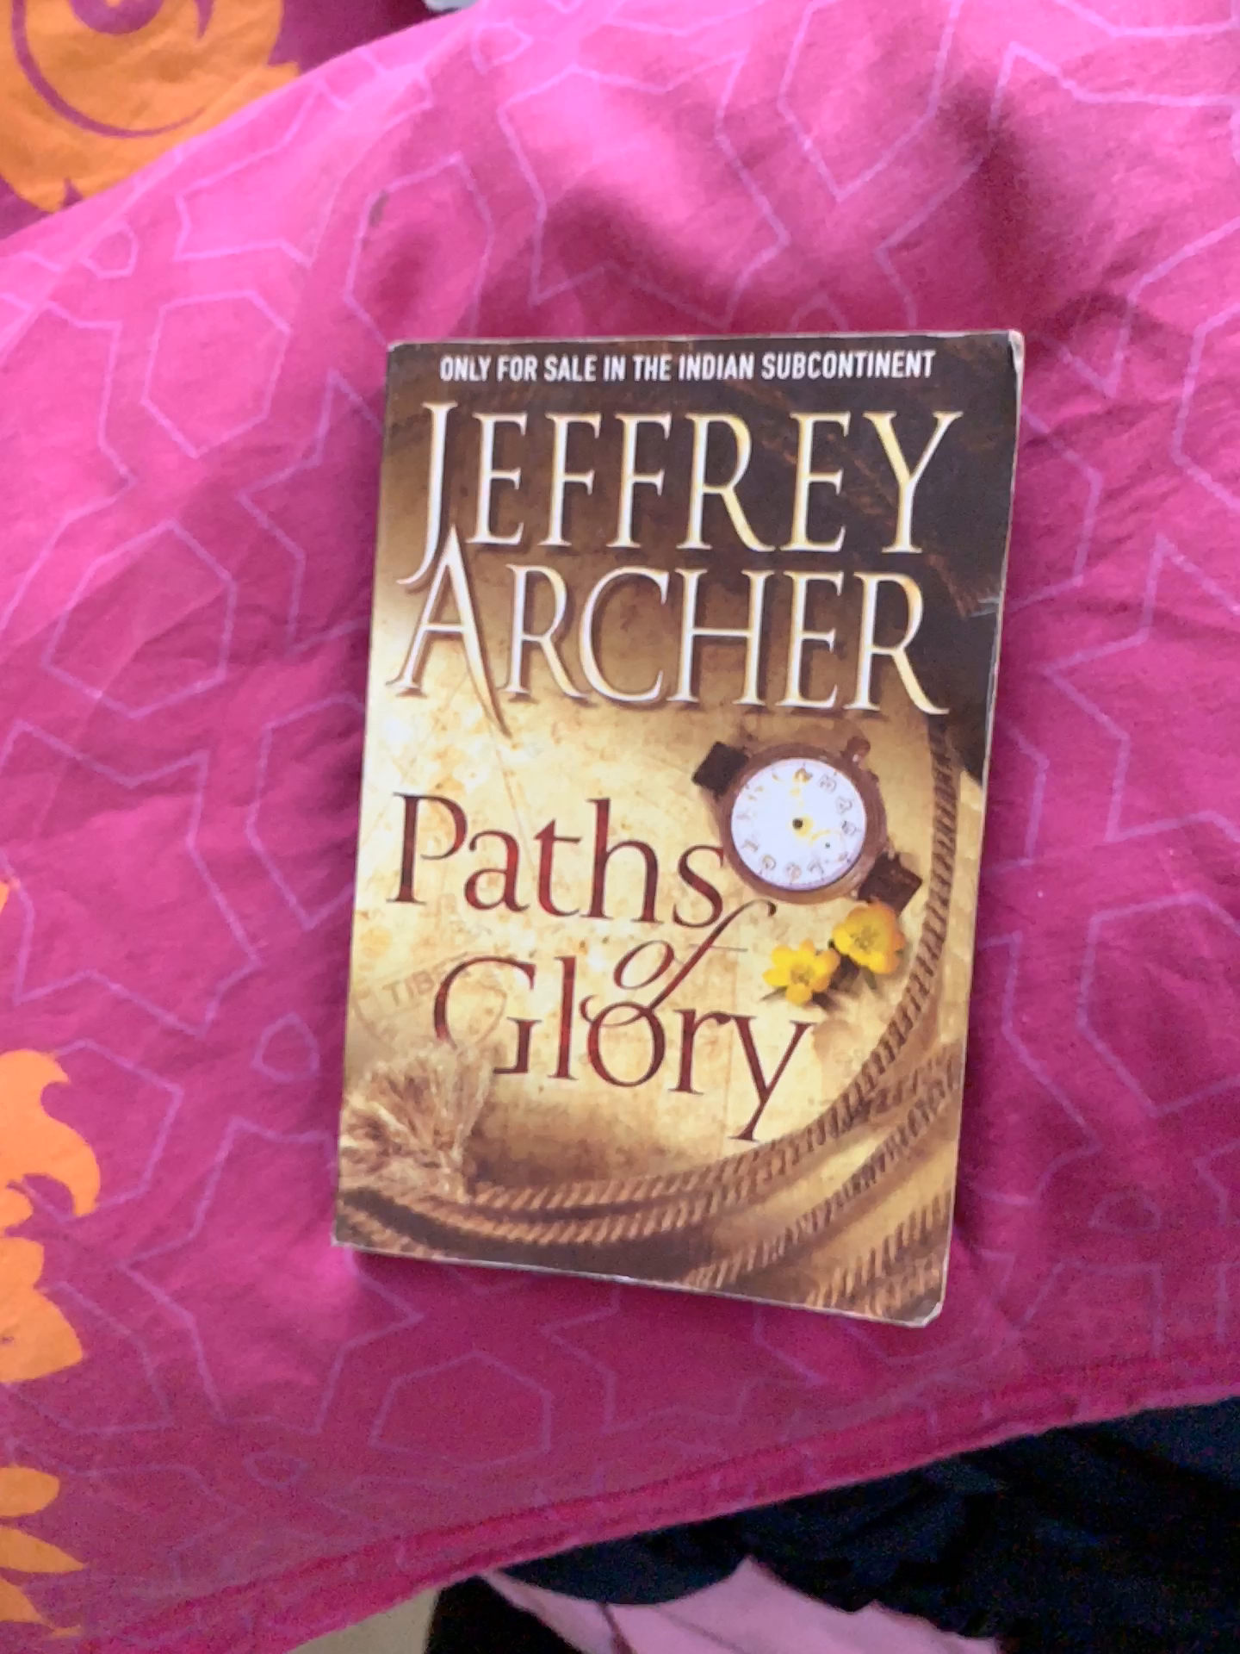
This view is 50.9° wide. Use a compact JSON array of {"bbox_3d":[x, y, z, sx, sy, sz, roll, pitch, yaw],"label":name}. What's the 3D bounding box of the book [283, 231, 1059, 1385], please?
[{"bbox_3d":[0.008,-0.007,0.237,0.120,0.040,0.180,5,93,15],"label":"book"}]
